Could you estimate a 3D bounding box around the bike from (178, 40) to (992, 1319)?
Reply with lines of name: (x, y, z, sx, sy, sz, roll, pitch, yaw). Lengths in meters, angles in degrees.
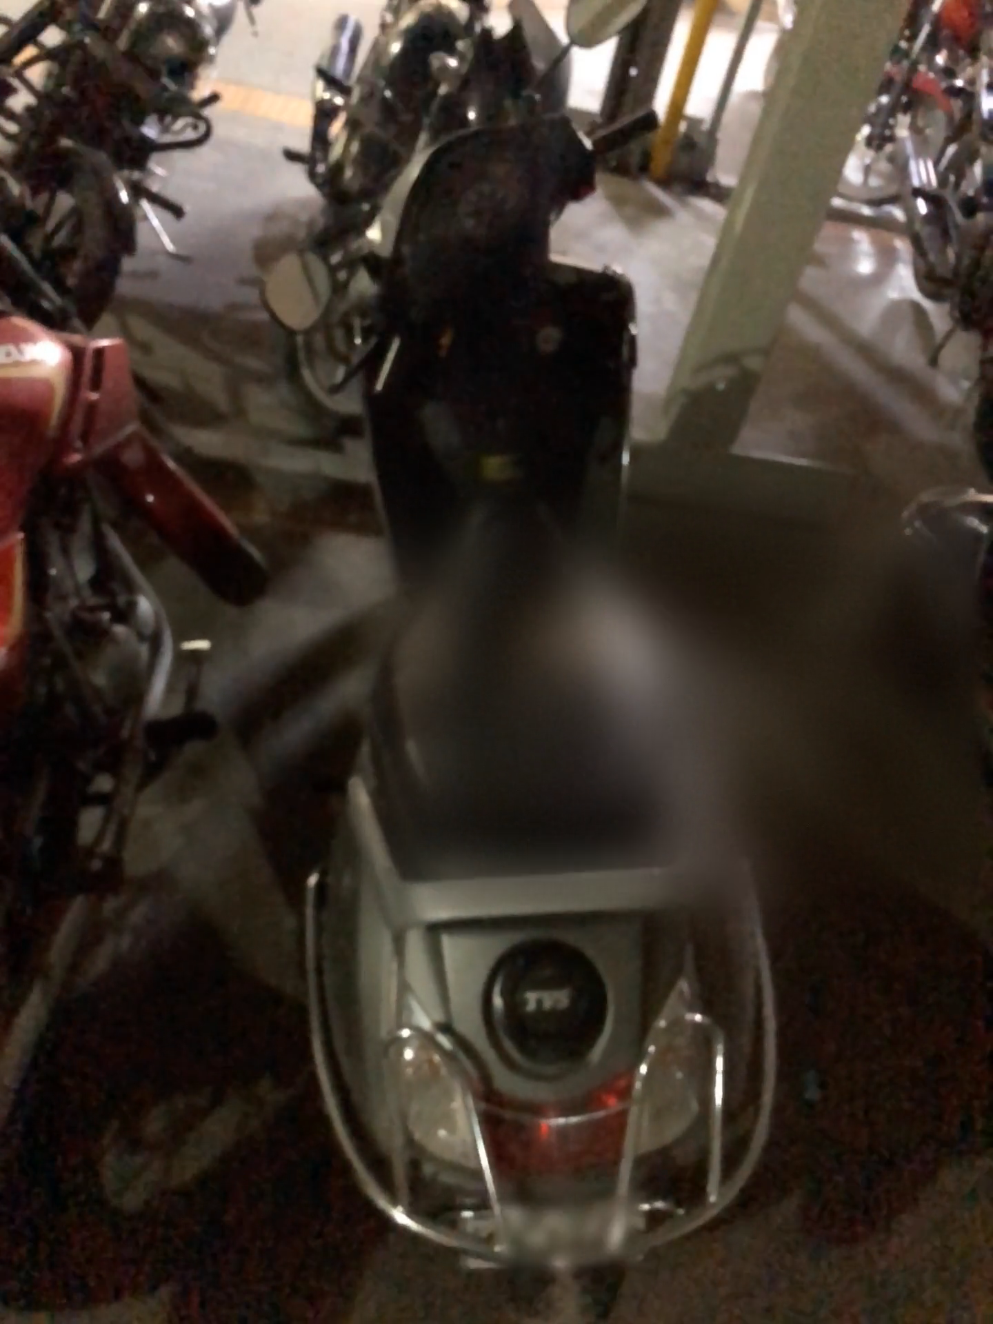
bike: (-0.029, -0.029, 1.556, 0.602, 1.094, 1.387, 6, 43, -10)
